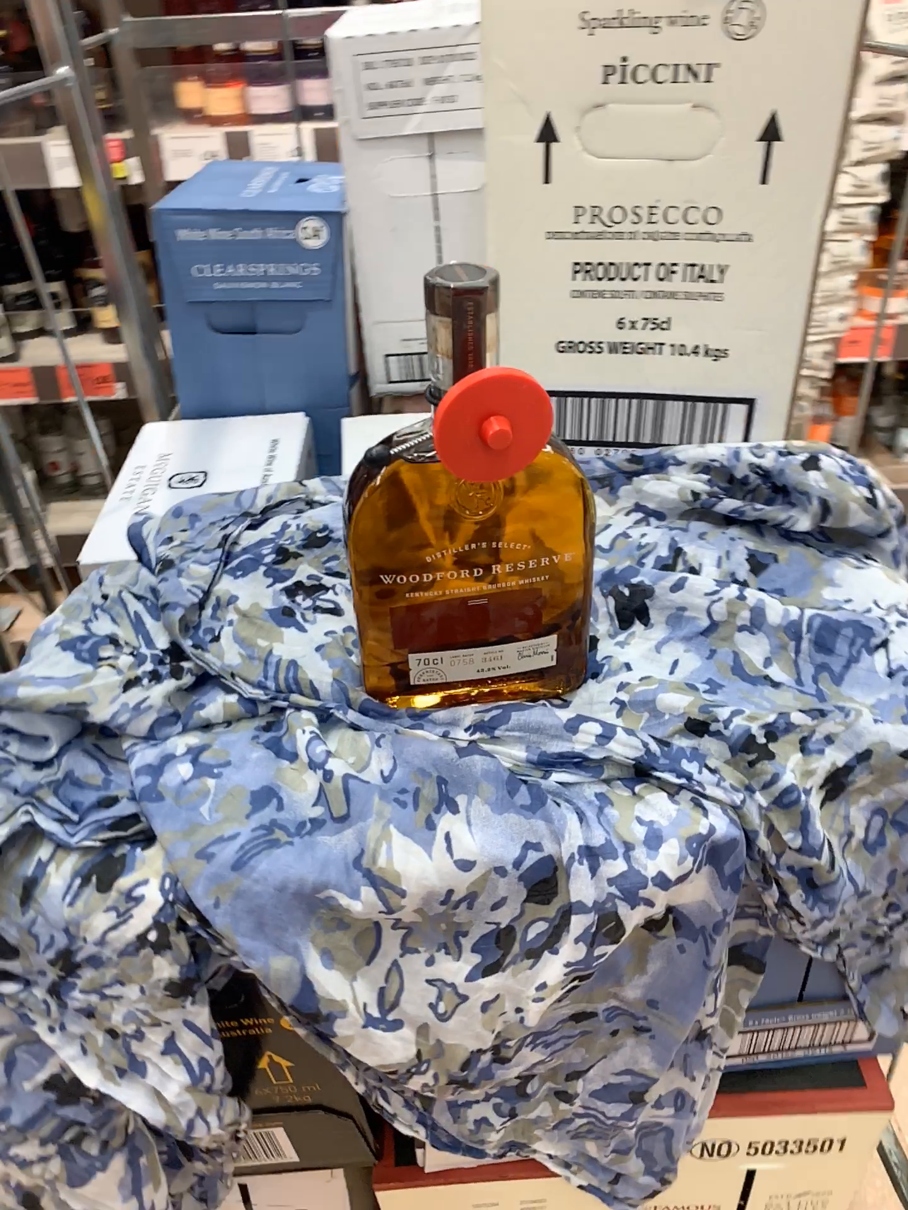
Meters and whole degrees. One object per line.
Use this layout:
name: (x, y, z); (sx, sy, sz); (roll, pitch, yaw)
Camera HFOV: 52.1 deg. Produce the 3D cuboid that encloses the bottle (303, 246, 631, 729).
bottle: (0.008, -0.050, 0.457); (0.133, 0.222, 0.051); (-7, 33, -6)
